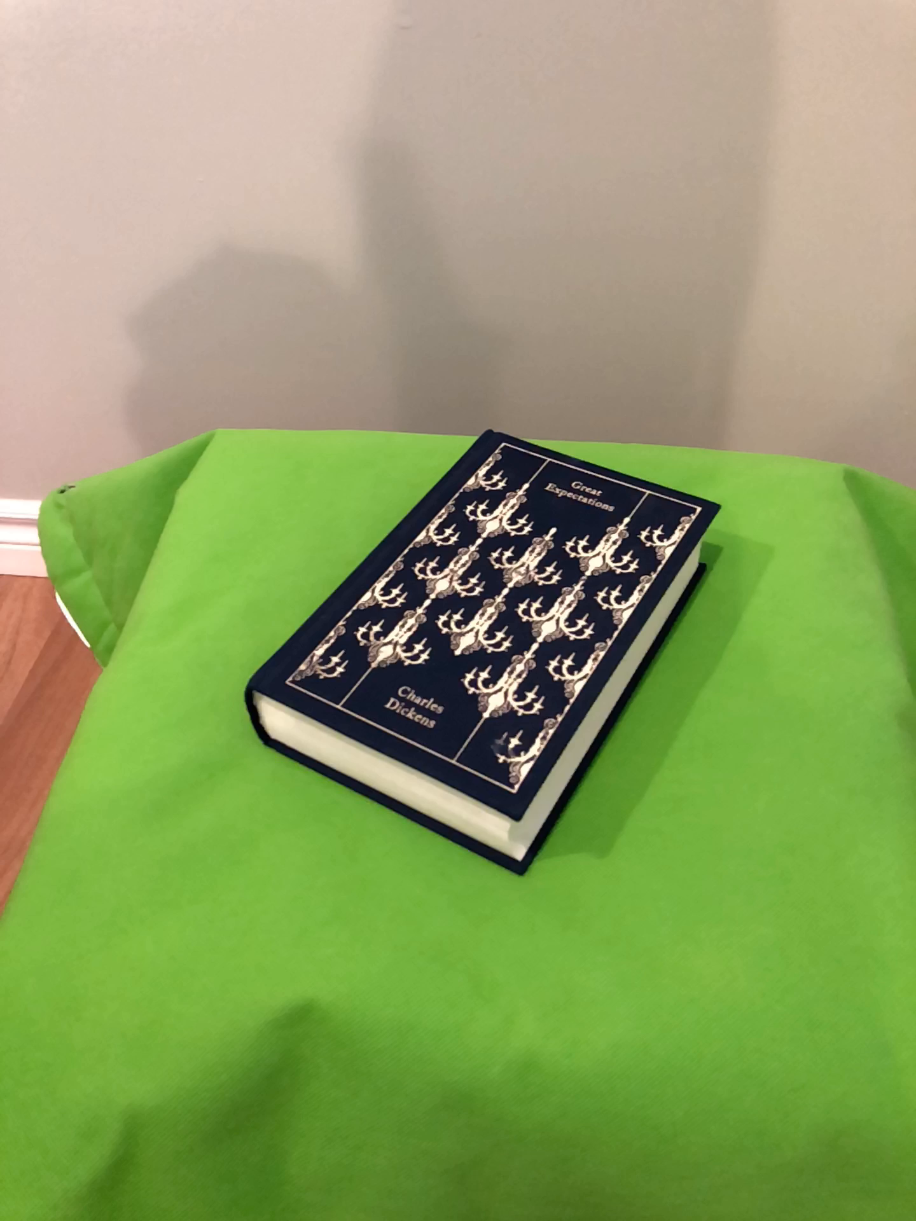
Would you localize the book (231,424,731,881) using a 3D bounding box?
[{"bbox_3d":[0.020,0.002,0.472,0.140,0.040,0.211,22,50,23],"label":"book"}]
